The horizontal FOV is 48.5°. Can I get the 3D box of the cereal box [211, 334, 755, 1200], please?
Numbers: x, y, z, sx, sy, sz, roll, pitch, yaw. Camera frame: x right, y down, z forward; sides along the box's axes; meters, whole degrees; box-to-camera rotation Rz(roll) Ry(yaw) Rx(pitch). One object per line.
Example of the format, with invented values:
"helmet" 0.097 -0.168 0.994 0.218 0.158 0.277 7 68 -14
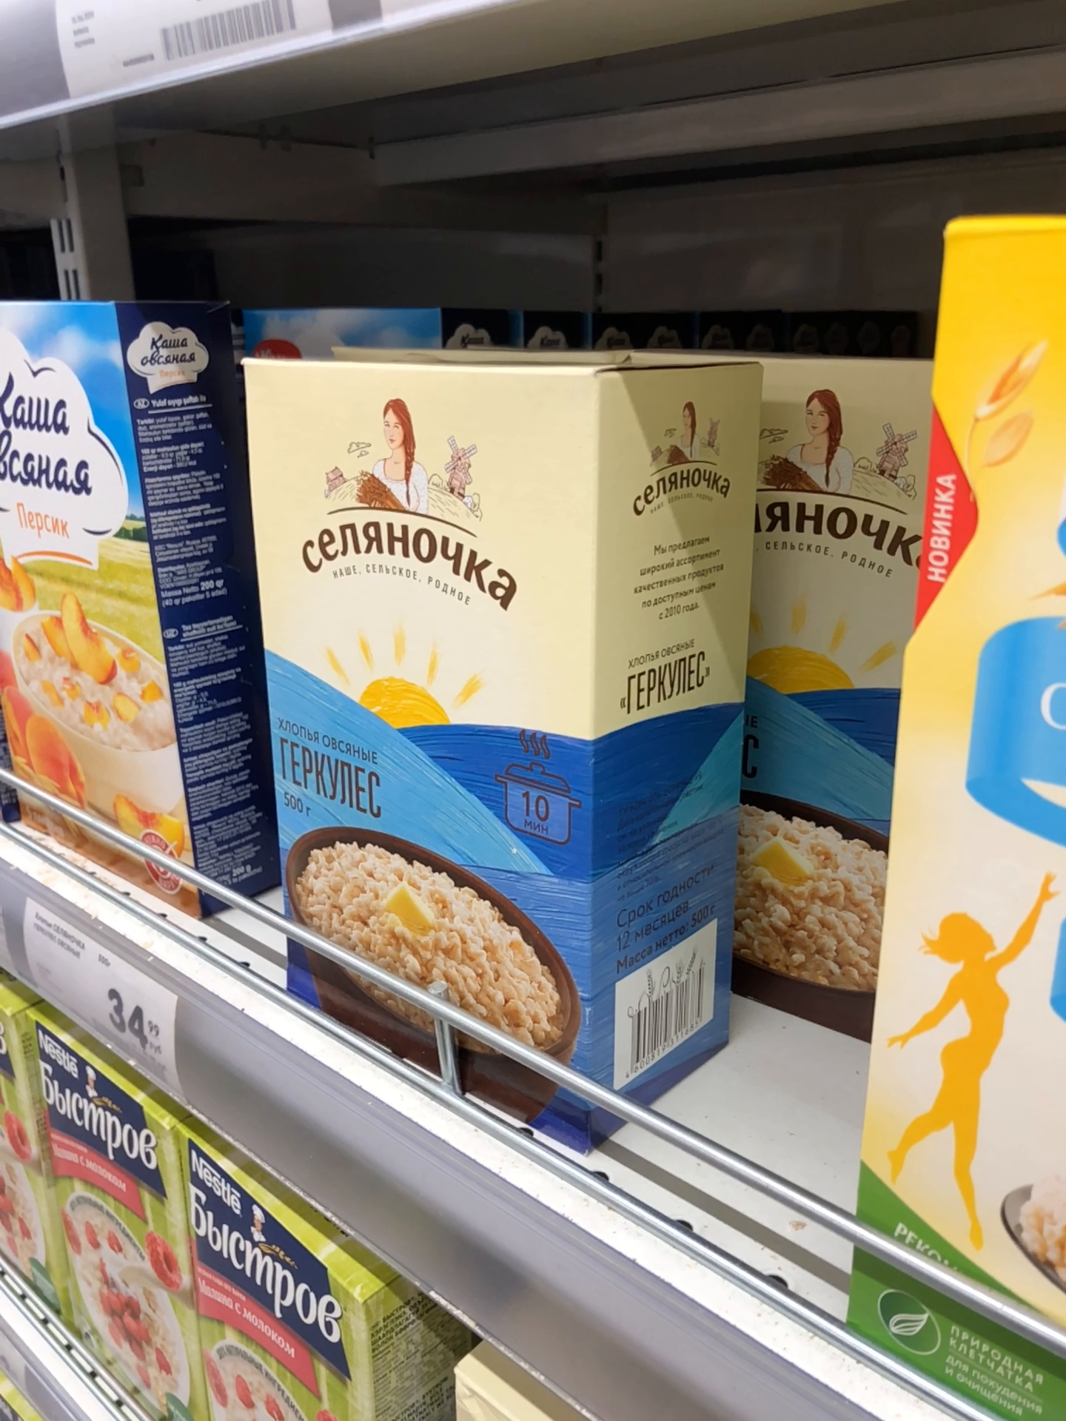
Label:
"cereal box" -0.016 0.003 0.320 0.130 0.199 0.060 15 24 41
